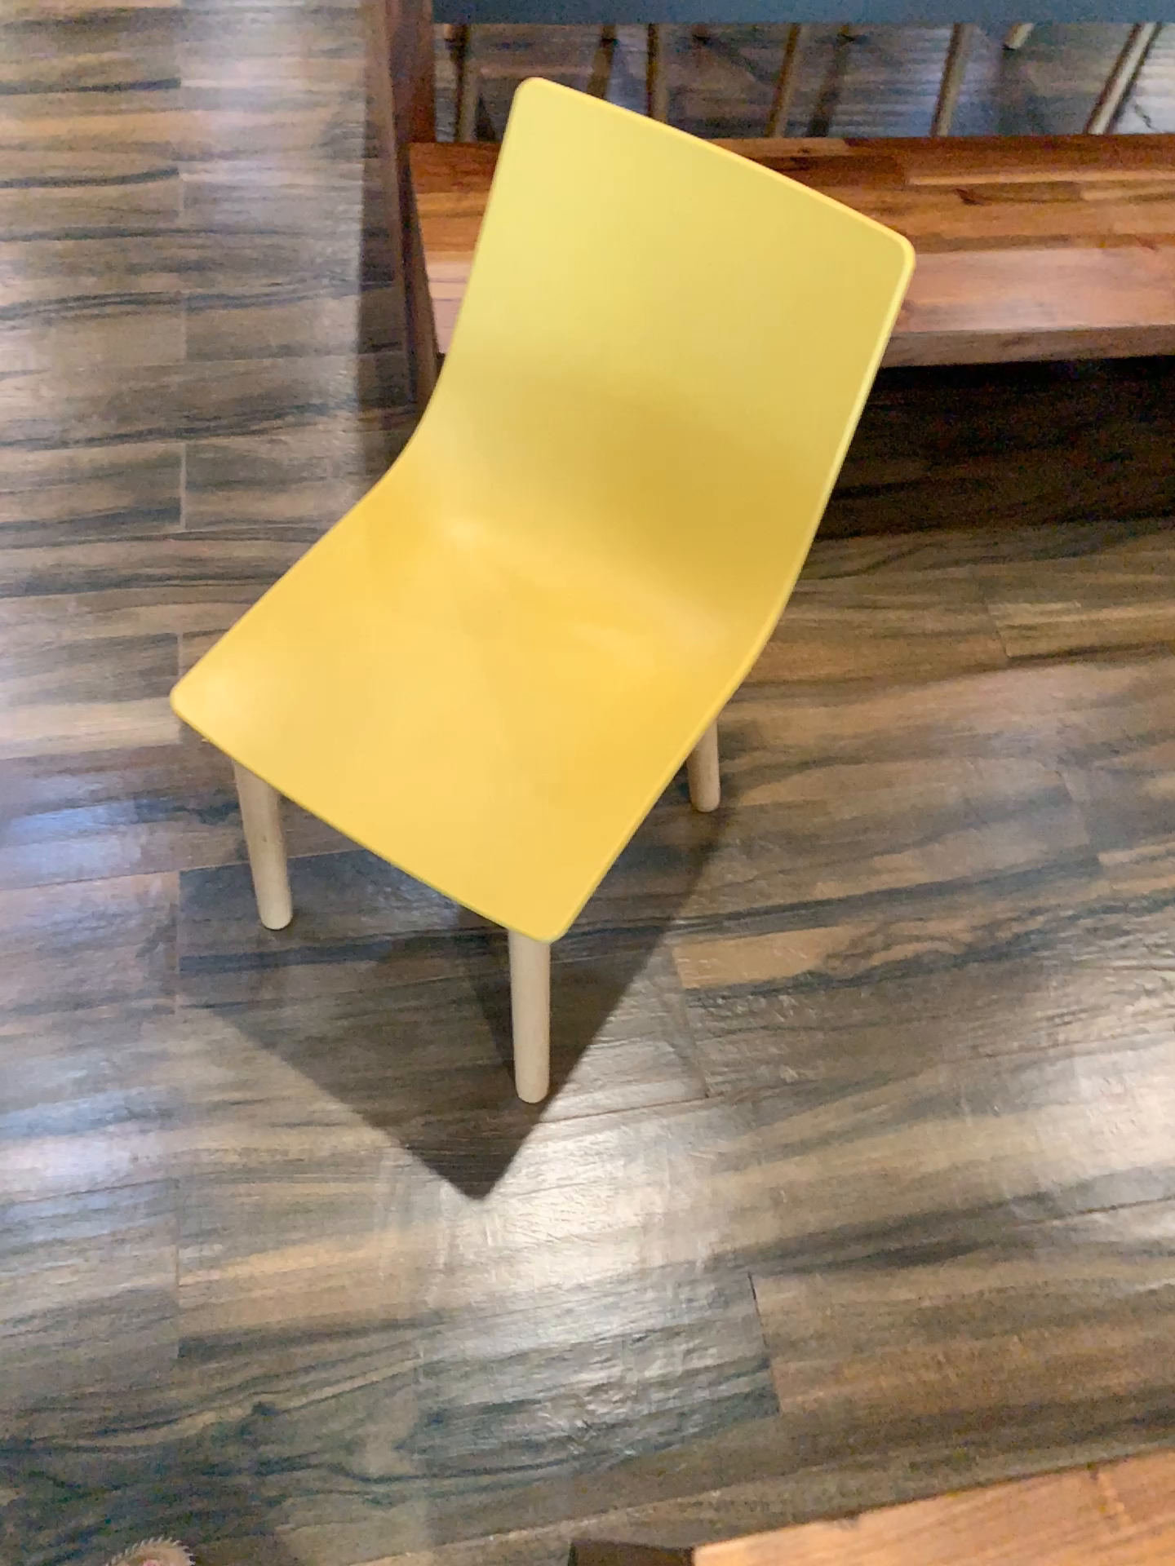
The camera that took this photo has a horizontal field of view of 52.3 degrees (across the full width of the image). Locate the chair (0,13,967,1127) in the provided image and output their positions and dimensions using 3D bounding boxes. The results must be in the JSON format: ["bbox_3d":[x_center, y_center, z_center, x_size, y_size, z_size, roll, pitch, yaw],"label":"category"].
[{"bbox_3d":[-0.088,-0.130,1.064,0.451,0.716,0.502,30,60,13],"label":"chair"}]
